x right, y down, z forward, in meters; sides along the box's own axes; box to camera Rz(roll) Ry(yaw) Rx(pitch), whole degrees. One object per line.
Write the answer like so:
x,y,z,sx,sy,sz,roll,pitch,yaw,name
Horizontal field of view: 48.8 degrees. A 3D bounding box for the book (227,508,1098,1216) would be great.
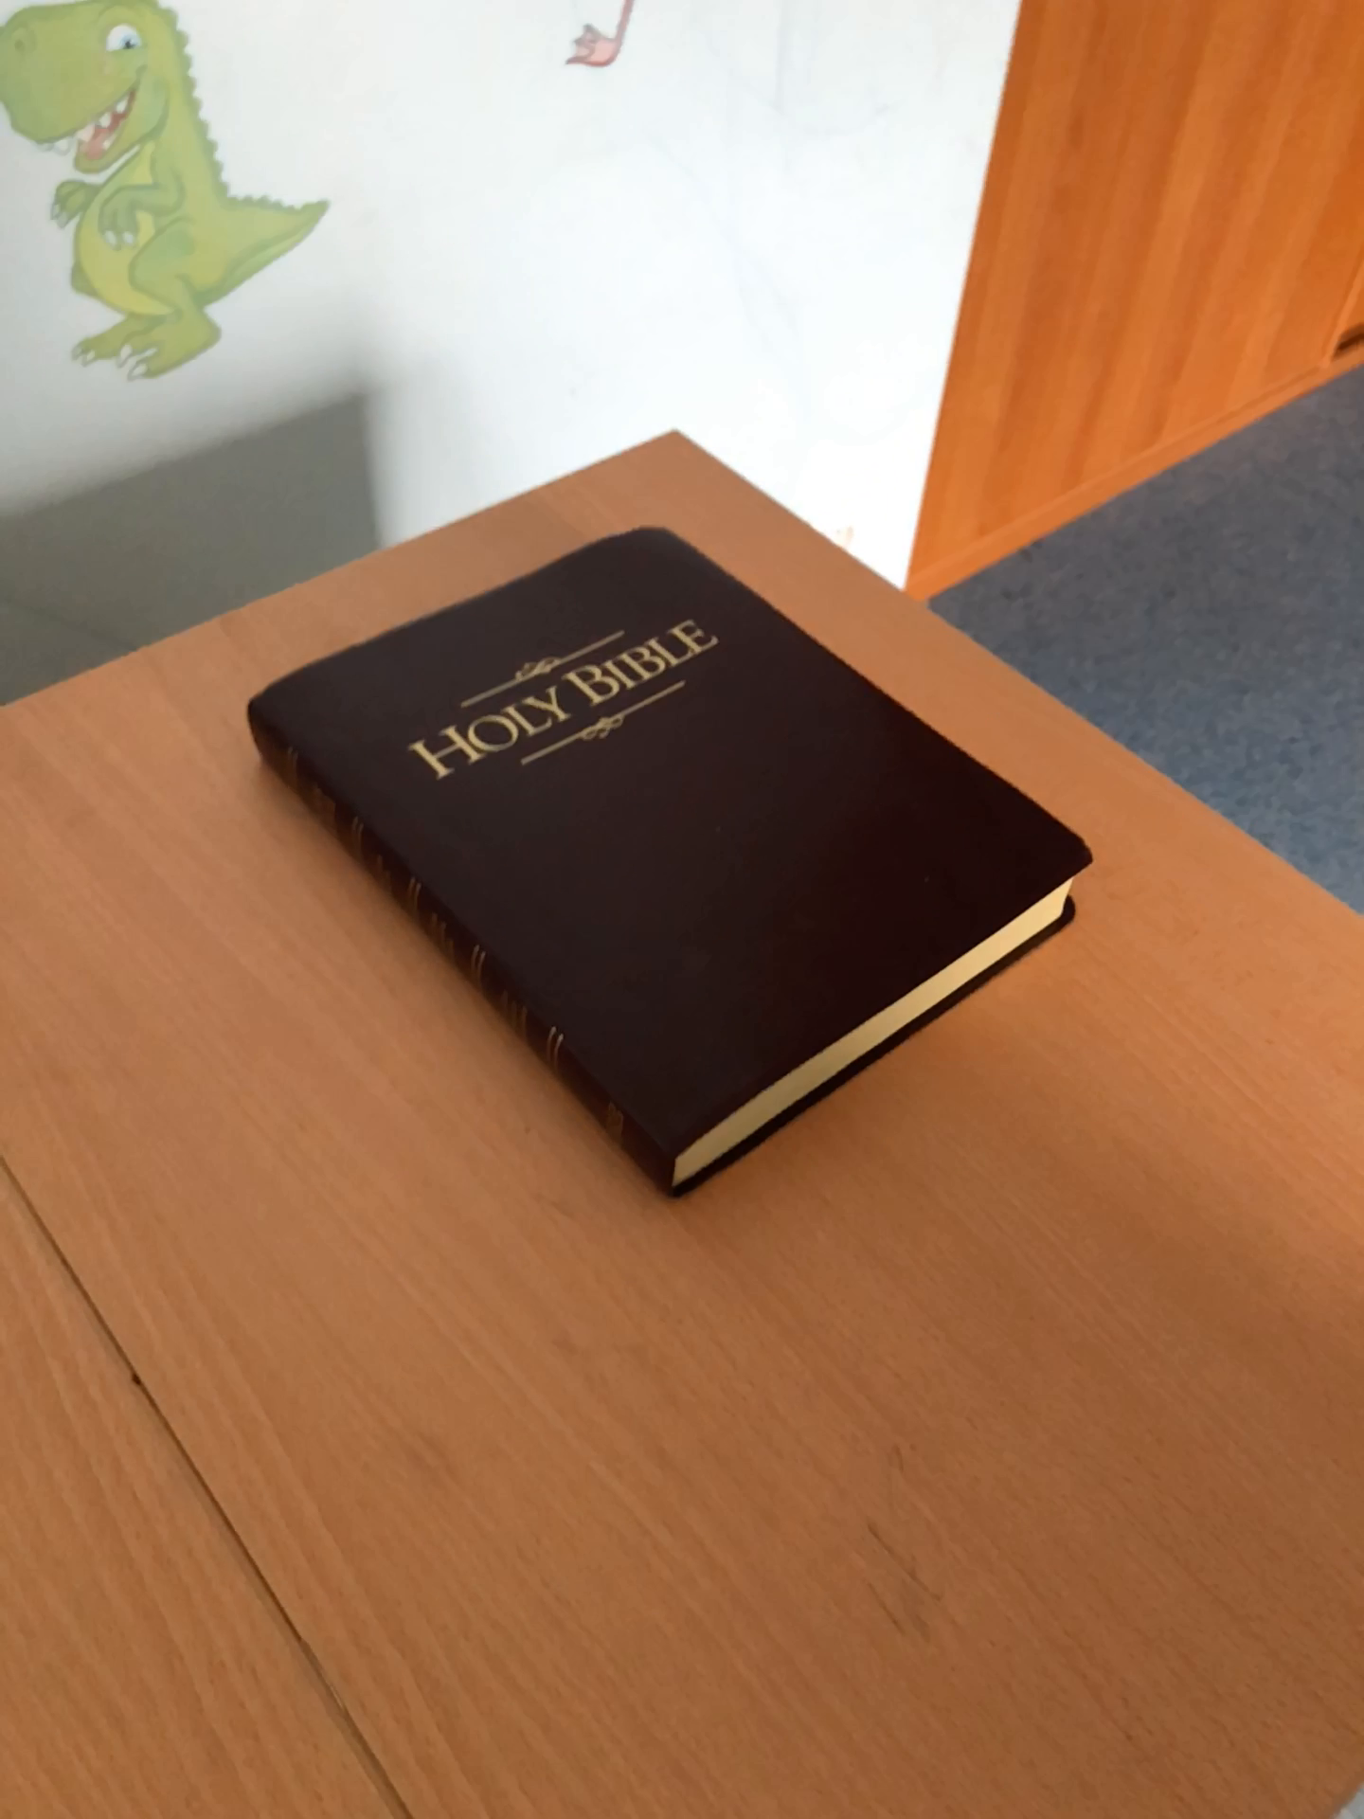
-0.013,-0.044,0.619,0.224,0.040,0.280,-31,58,-28,book
